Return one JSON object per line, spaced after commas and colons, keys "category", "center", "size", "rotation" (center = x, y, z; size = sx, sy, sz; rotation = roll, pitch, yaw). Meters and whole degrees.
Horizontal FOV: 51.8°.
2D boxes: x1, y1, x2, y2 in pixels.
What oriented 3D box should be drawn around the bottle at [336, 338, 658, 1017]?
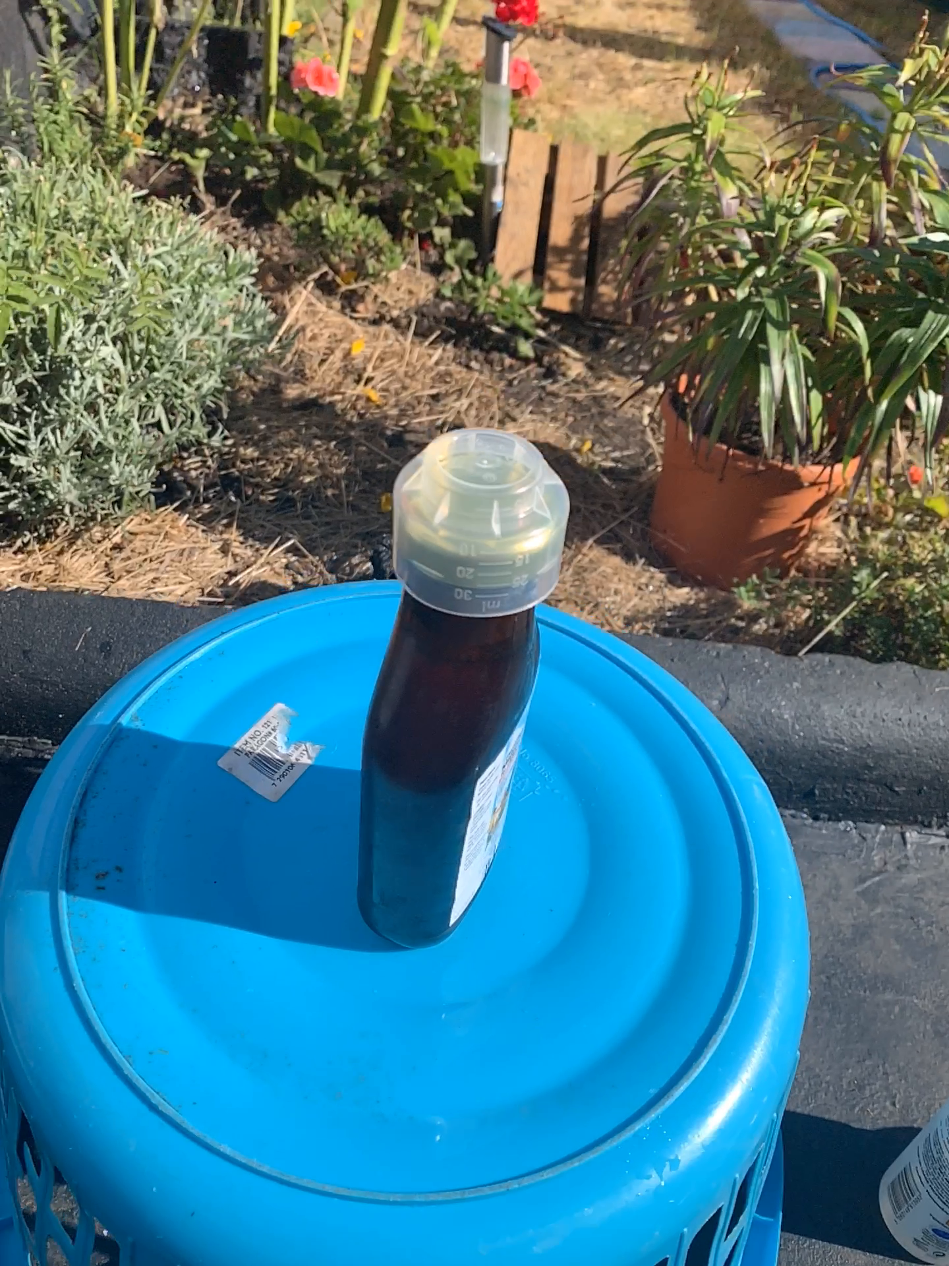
{"category": "bottle", "center": [0.000, 0.024, 0.301], "size": [0.050, 0.198, 0.081], "rotation": [19, 42, 12]}
